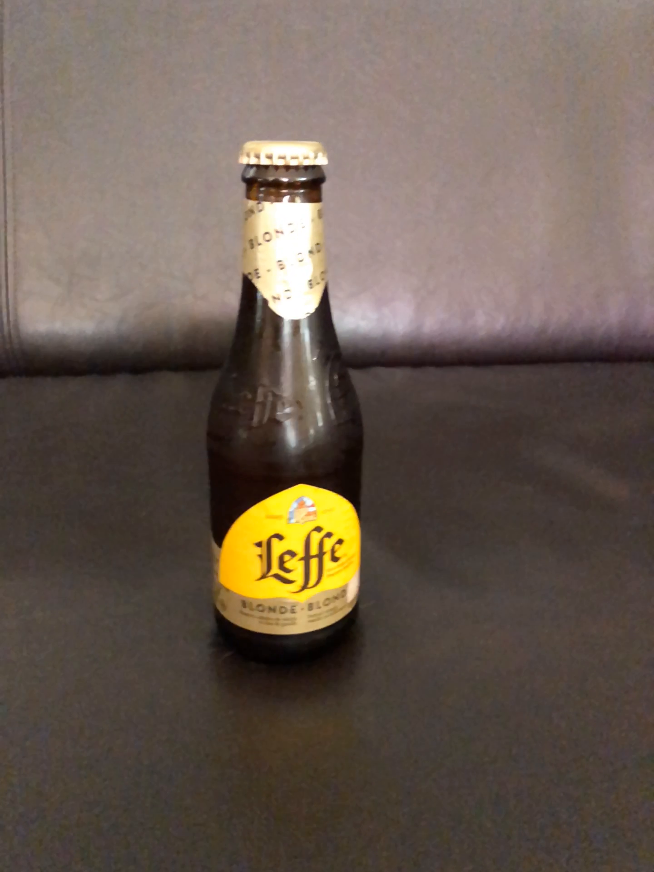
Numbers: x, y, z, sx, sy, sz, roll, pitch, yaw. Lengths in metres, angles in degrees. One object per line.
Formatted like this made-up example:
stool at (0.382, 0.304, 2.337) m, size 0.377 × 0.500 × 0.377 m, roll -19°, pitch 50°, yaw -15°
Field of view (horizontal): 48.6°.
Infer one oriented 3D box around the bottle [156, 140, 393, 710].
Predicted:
bottle at (-0.019, -0.002, 0.260) m, size 0.060 × 0.189 × 0.060 m, roll 0°, pitch 24°, yaw 0°
